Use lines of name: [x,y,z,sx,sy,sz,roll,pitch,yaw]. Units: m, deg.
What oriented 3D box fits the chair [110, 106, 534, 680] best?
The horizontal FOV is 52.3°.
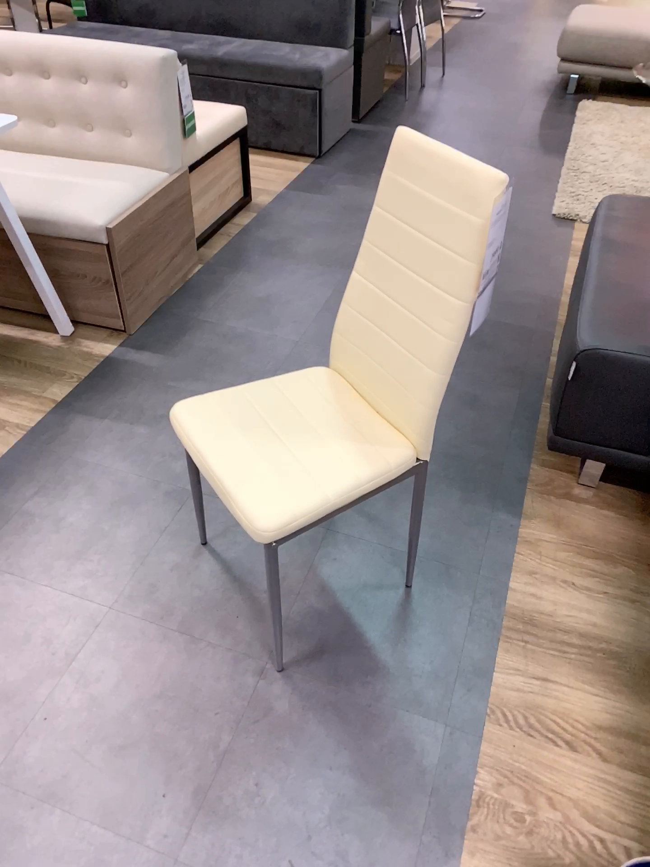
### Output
chair: [-0.026,-0.049,1.307,0.478,0.940,0.447,-21,46,-24]
